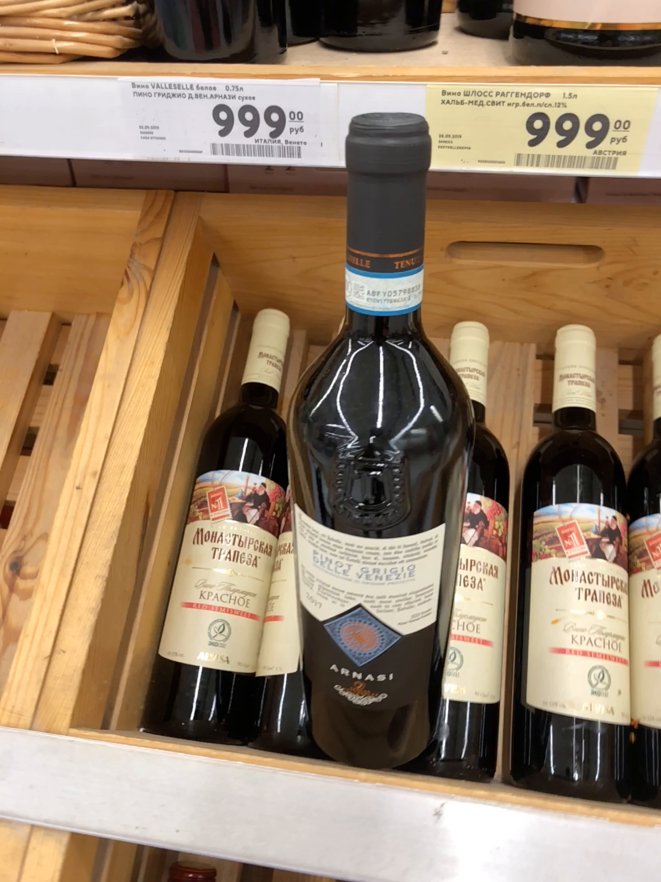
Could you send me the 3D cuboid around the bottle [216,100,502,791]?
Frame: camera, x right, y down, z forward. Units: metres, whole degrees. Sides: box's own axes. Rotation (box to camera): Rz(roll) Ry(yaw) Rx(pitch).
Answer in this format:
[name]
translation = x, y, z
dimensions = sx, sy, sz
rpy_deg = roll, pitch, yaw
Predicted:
[bottle]
translation = 0.017, 0.020, 0.342
dimensions = 0.090, 0.318, 0.080
rpy_deg = 5, 31, 10
